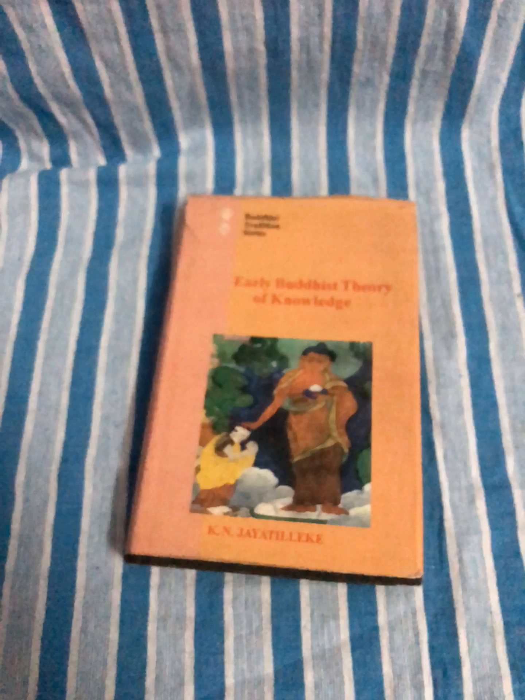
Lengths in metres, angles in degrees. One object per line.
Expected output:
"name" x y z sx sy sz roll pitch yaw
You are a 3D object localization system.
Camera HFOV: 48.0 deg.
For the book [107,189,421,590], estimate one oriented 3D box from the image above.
"book" 0.008 0.012 0.335 0.150 0.030 0.220 3 69 4
